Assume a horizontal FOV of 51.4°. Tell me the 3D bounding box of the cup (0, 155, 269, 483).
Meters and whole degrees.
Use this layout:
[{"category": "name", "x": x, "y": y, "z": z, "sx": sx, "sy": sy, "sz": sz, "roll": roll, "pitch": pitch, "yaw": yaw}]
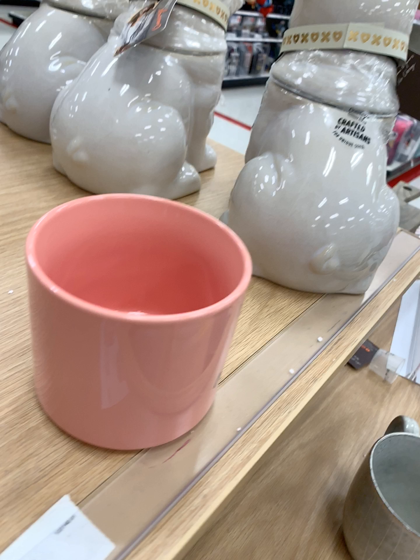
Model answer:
[{"category": "cup", "x": -0.033, "y": 0.010, "z": 0.226, "sx": 0.104, "sy": 0.085, "sz": 0.133, "roll": 11, "pitch": 35, "yaw": -3}]
